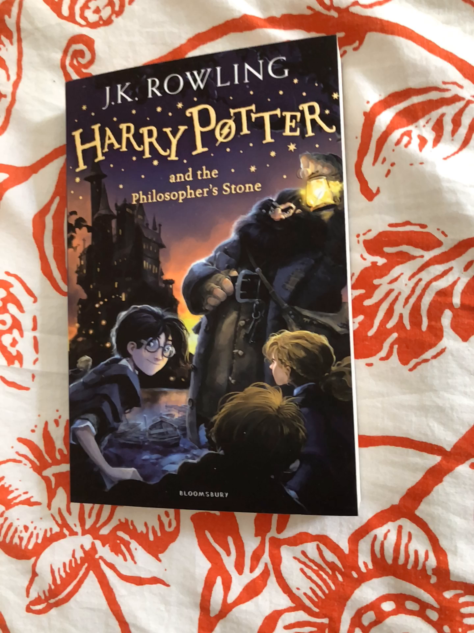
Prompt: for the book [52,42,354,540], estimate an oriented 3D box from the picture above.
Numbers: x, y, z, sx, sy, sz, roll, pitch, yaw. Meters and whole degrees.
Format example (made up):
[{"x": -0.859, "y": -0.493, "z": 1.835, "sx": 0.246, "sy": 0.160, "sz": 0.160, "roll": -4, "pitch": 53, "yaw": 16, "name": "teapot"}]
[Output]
[{"x": -0.015, "y": -0.011, "z": 0.226, "sx": 0.127, "sy": 0.020, "sz": 0.189, "roll": 0, "pitch": 88, "yaw": 14, "name": "book"}]
